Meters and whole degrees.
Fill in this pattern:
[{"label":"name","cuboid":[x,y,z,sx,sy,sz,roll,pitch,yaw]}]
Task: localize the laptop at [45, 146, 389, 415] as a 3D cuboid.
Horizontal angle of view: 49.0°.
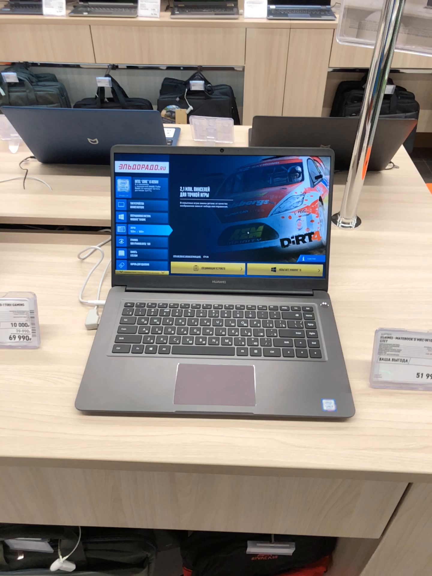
[{"label":"laptop","cuboid":[0.003,-0.034,0.667,0.344,0.180,0.359,1,41,1]}]
